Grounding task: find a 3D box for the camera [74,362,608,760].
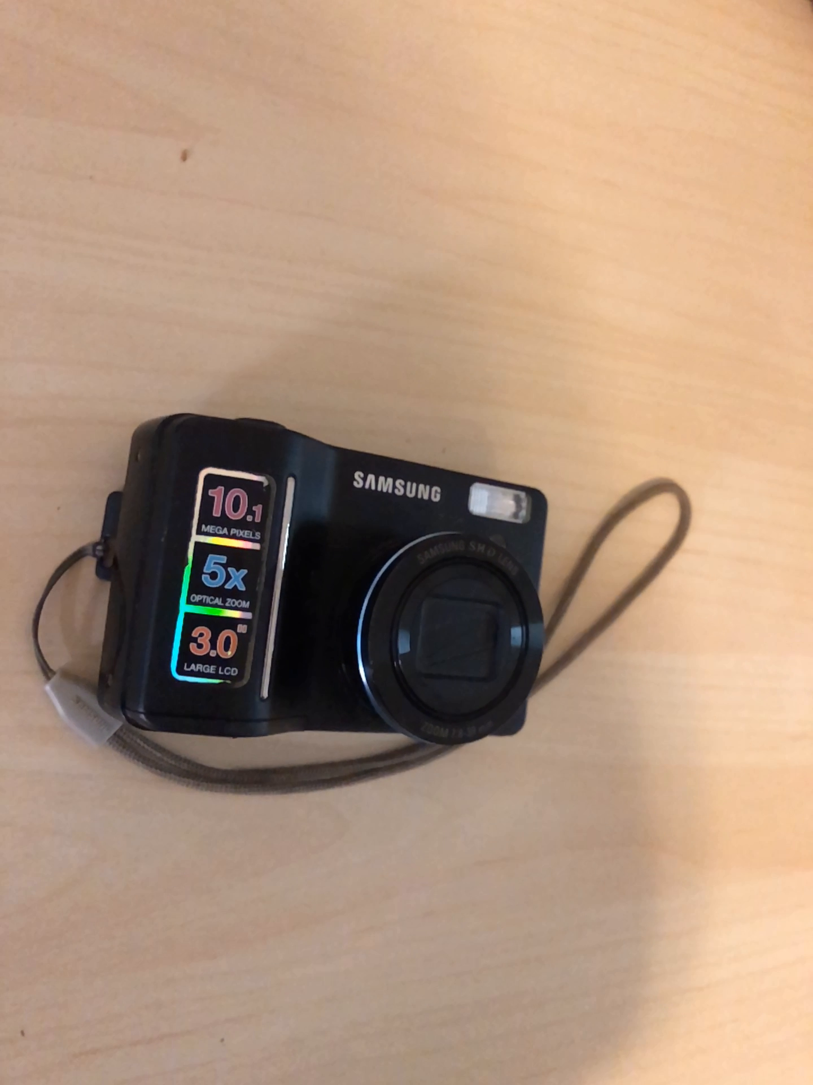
[{"bbox_3d":[-0.010,0.009,0.205,0.110,0.030,0.070,9,85,-28],"label":"camera"}]
